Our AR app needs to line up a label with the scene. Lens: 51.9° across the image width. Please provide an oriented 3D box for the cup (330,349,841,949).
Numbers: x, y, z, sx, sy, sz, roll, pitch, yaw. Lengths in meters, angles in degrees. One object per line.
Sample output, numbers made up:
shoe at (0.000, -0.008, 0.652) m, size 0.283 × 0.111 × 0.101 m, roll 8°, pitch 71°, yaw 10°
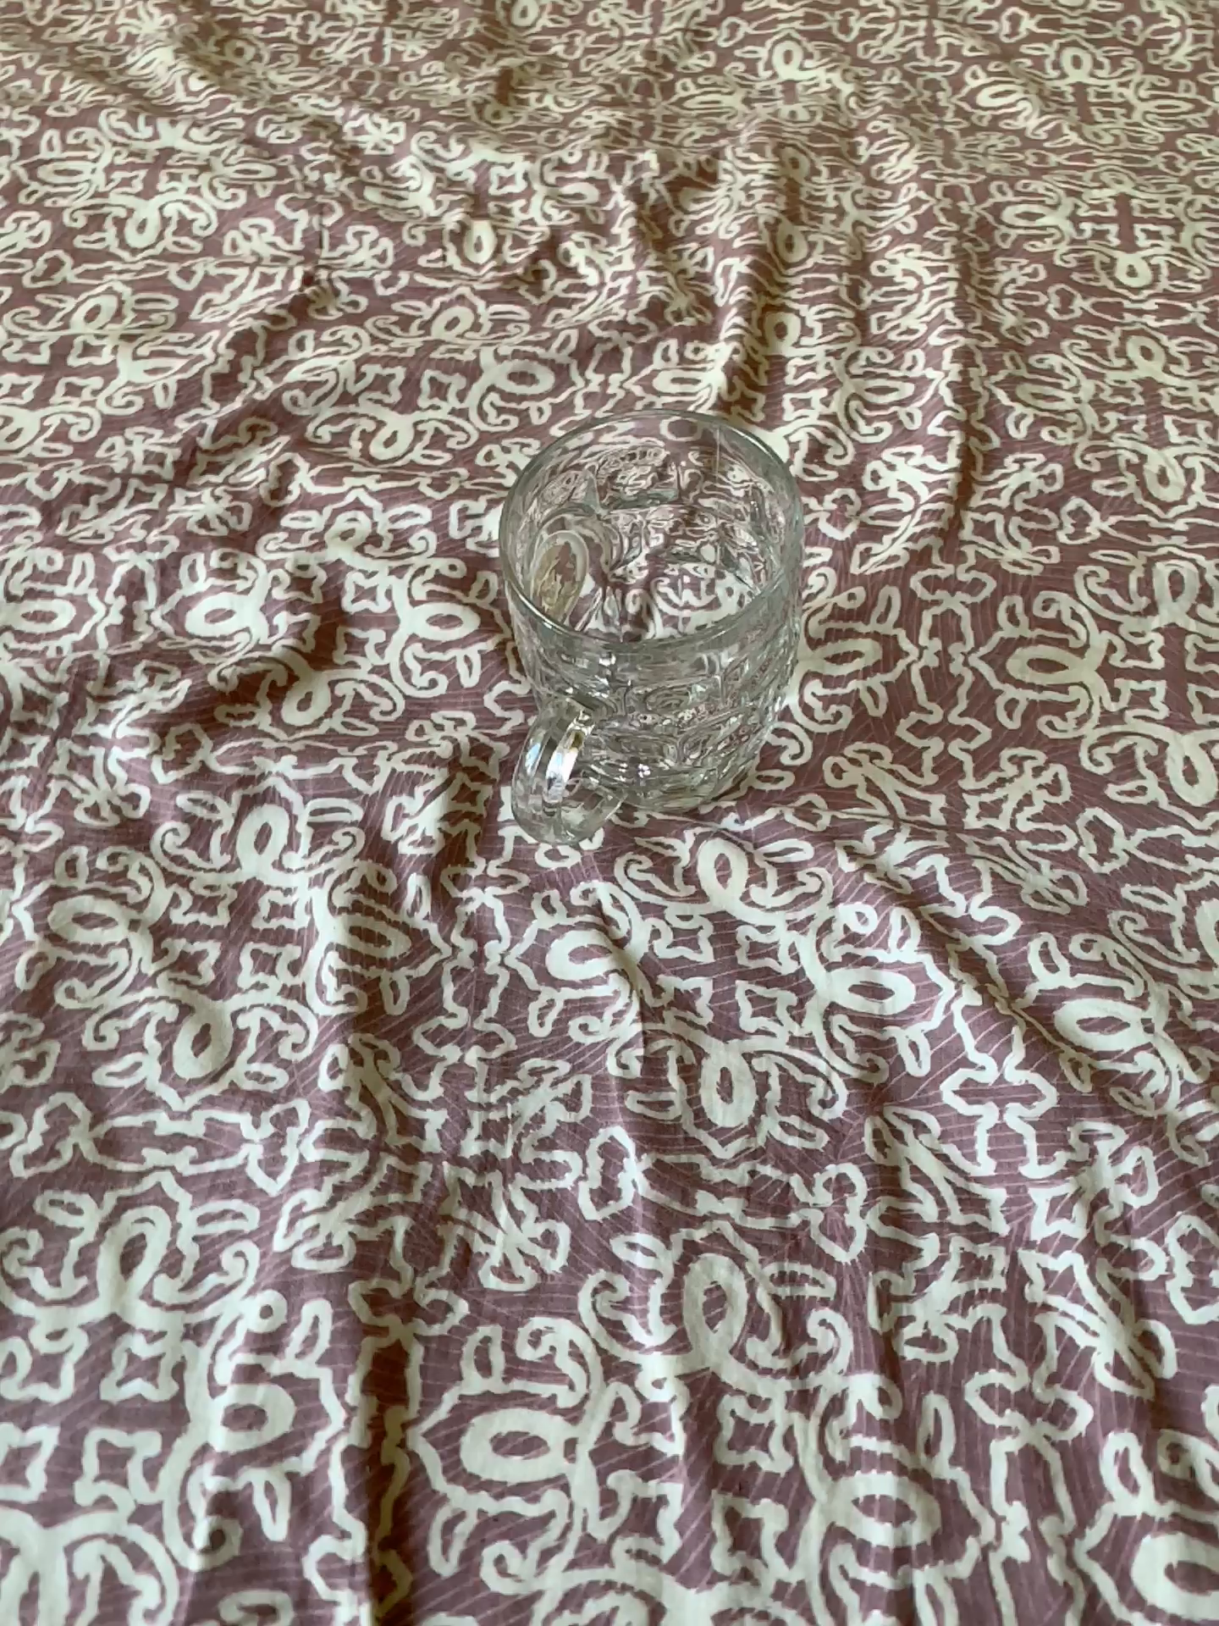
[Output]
cup at (0.001, -0.050, 0.386) m, size 0.090 × 0.109 × 0.121 m, roll 25°, pitch 62°, yaw 21°
